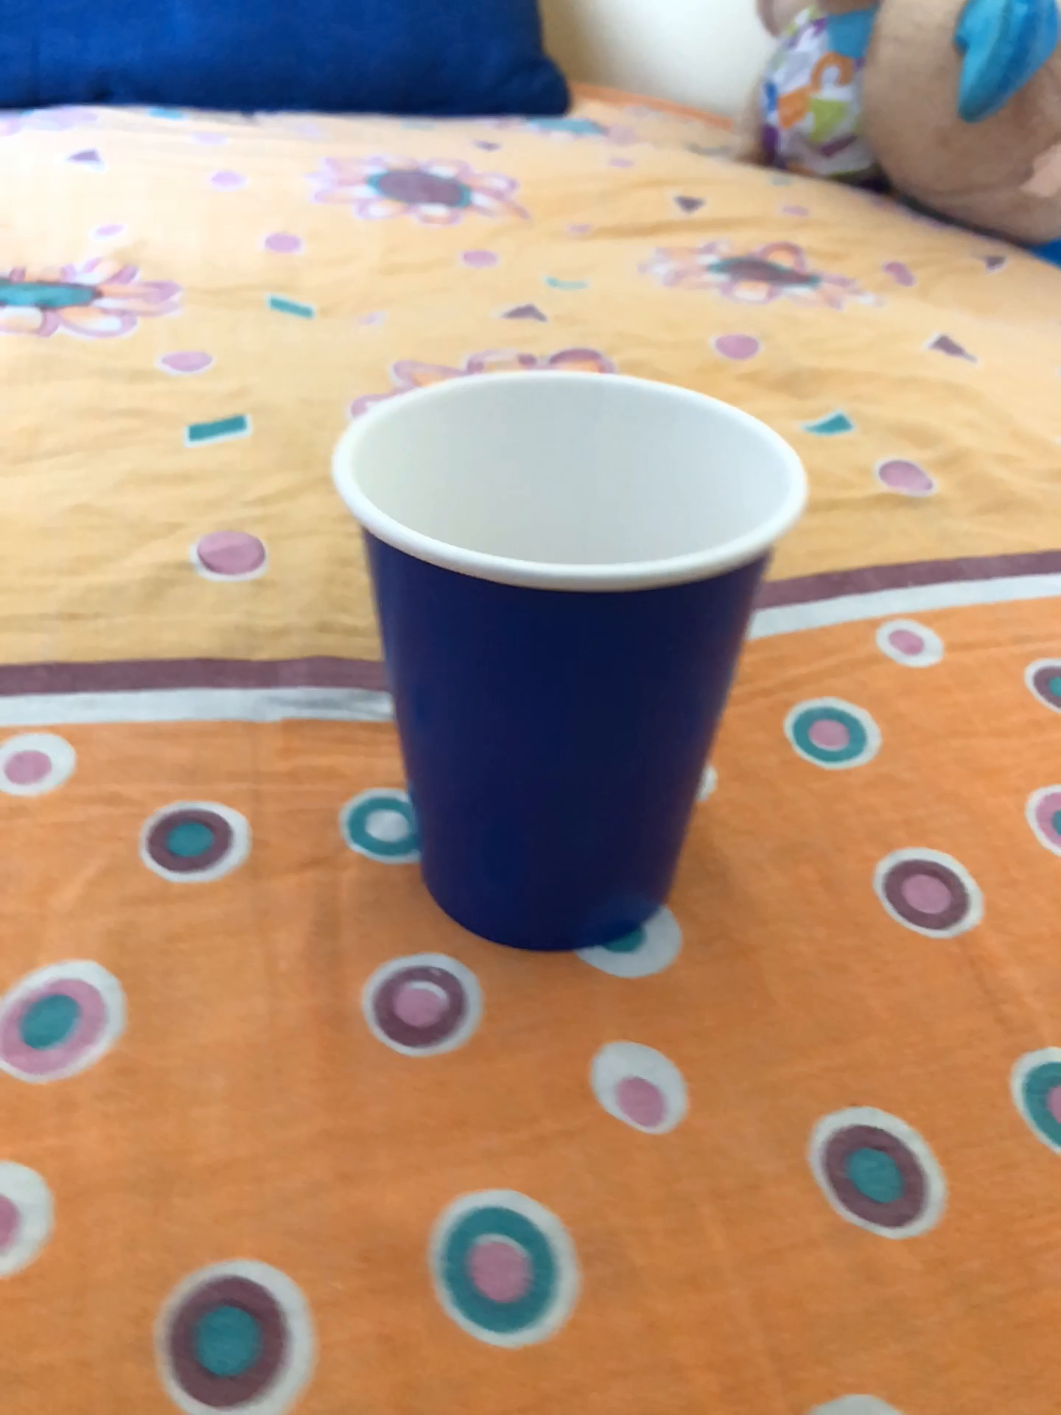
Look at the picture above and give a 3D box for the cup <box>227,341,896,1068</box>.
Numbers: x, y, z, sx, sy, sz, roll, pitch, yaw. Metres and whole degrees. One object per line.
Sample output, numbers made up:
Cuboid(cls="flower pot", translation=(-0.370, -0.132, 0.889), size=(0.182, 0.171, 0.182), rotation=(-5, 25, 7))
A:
Cuboid(cls="cup", translation=(0.006, -0.007, 0.226), size=(0.080, 0.090, 0.080), rotation=(0, 34, 0))
